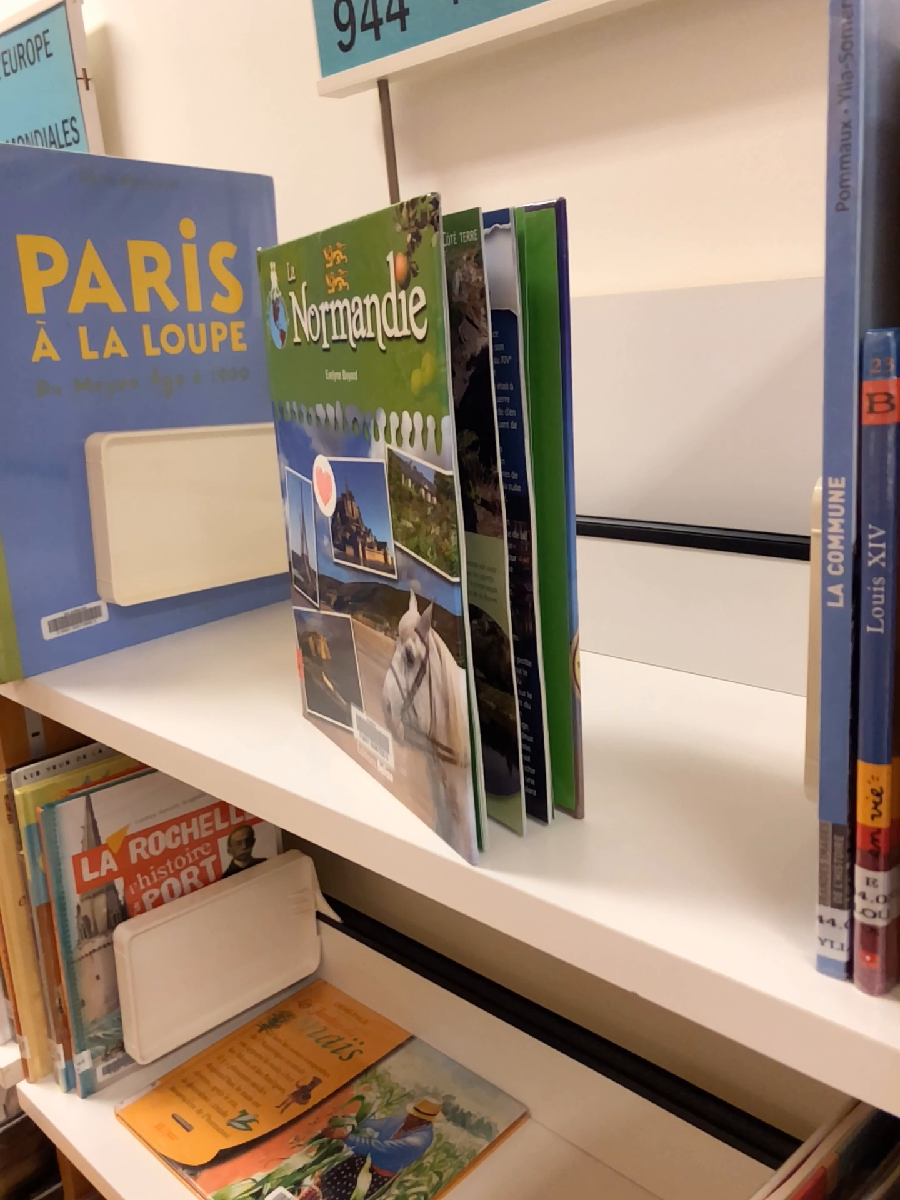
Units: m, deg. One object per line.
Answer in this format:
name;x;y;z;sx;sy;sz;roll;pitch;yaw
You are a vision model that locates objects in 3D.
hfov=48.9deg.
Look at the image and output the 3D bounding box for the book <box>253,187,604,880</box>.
book;-0.019;-0.041;0.459;0.077;0.249;0.208;-9;15;-22
